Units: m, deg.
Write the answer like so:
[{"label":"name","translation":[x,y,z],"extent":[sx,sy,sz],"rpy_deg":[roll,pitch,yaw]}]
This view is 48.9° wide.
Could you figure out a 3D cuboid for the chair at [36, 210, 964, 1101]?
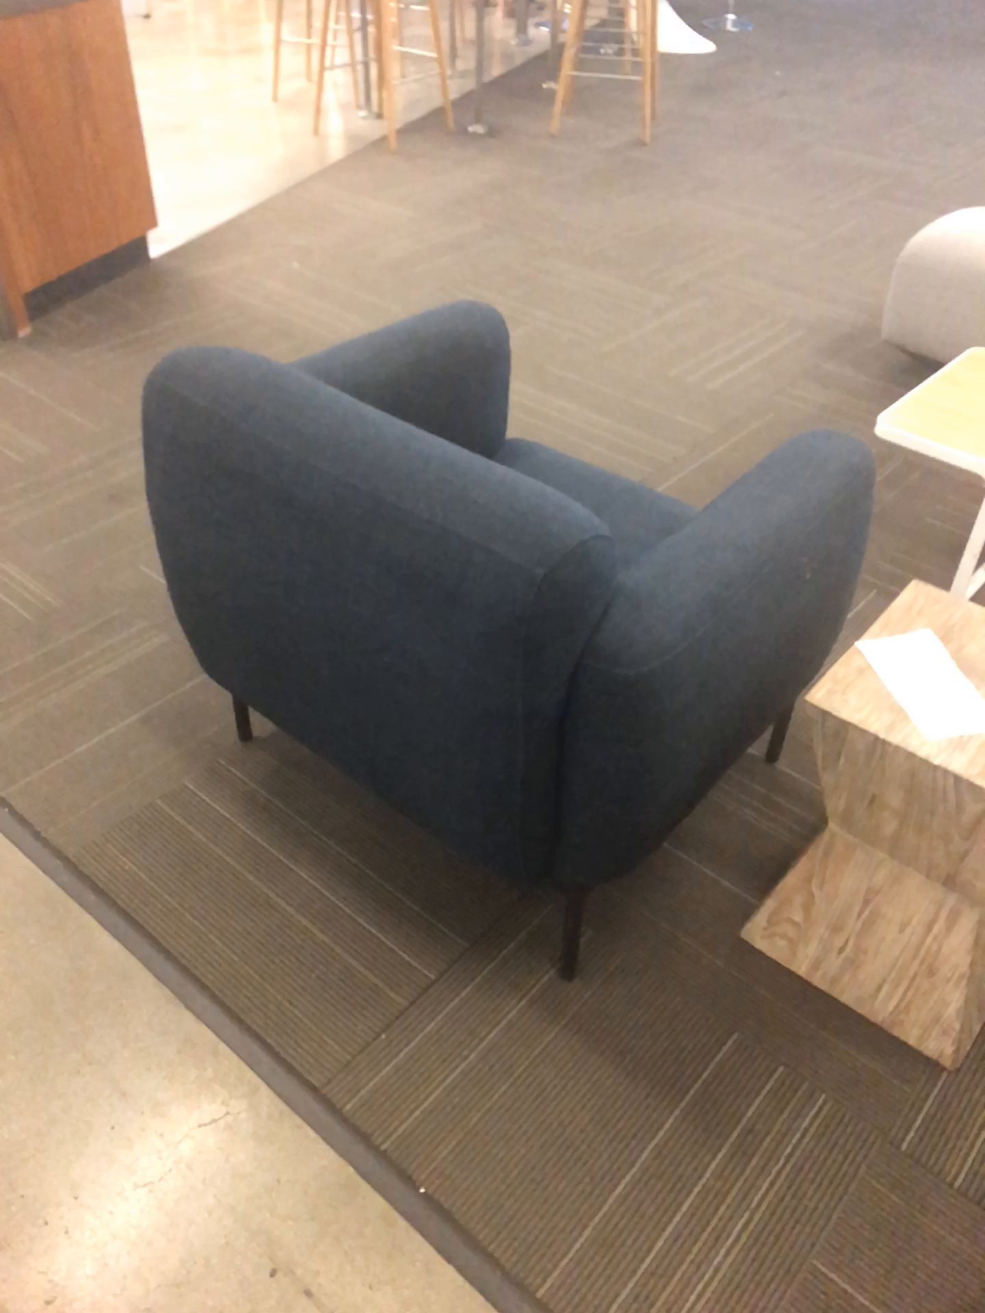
[{"label":"chair","translation":[0.016,-0.097,1.698],"extent":[0.921,0.783,0.846],"rpy_deg":[28,46,29]}]
